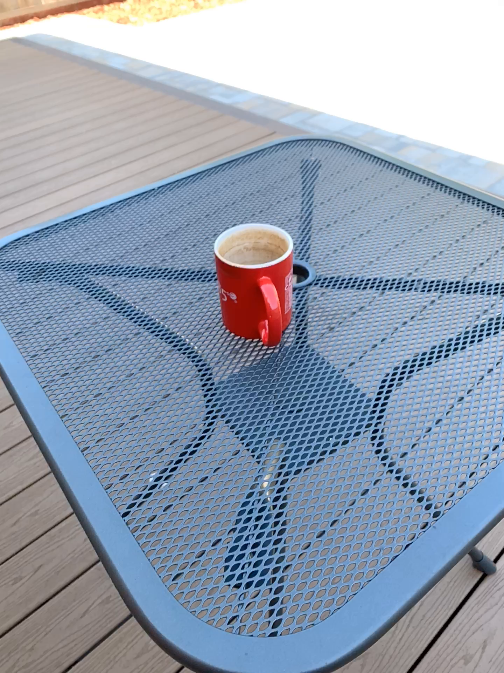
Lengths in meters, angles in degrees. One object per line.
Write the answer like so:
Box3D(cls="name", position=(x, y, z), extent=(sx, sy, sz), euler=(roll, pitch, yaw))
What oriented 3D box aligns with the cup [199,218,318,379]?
Box3D(cls="cup", position=(0.005, -0.044, 0.566), extent=(0.090, 0.100, 0.131), euler=(-13, 43, -8))
